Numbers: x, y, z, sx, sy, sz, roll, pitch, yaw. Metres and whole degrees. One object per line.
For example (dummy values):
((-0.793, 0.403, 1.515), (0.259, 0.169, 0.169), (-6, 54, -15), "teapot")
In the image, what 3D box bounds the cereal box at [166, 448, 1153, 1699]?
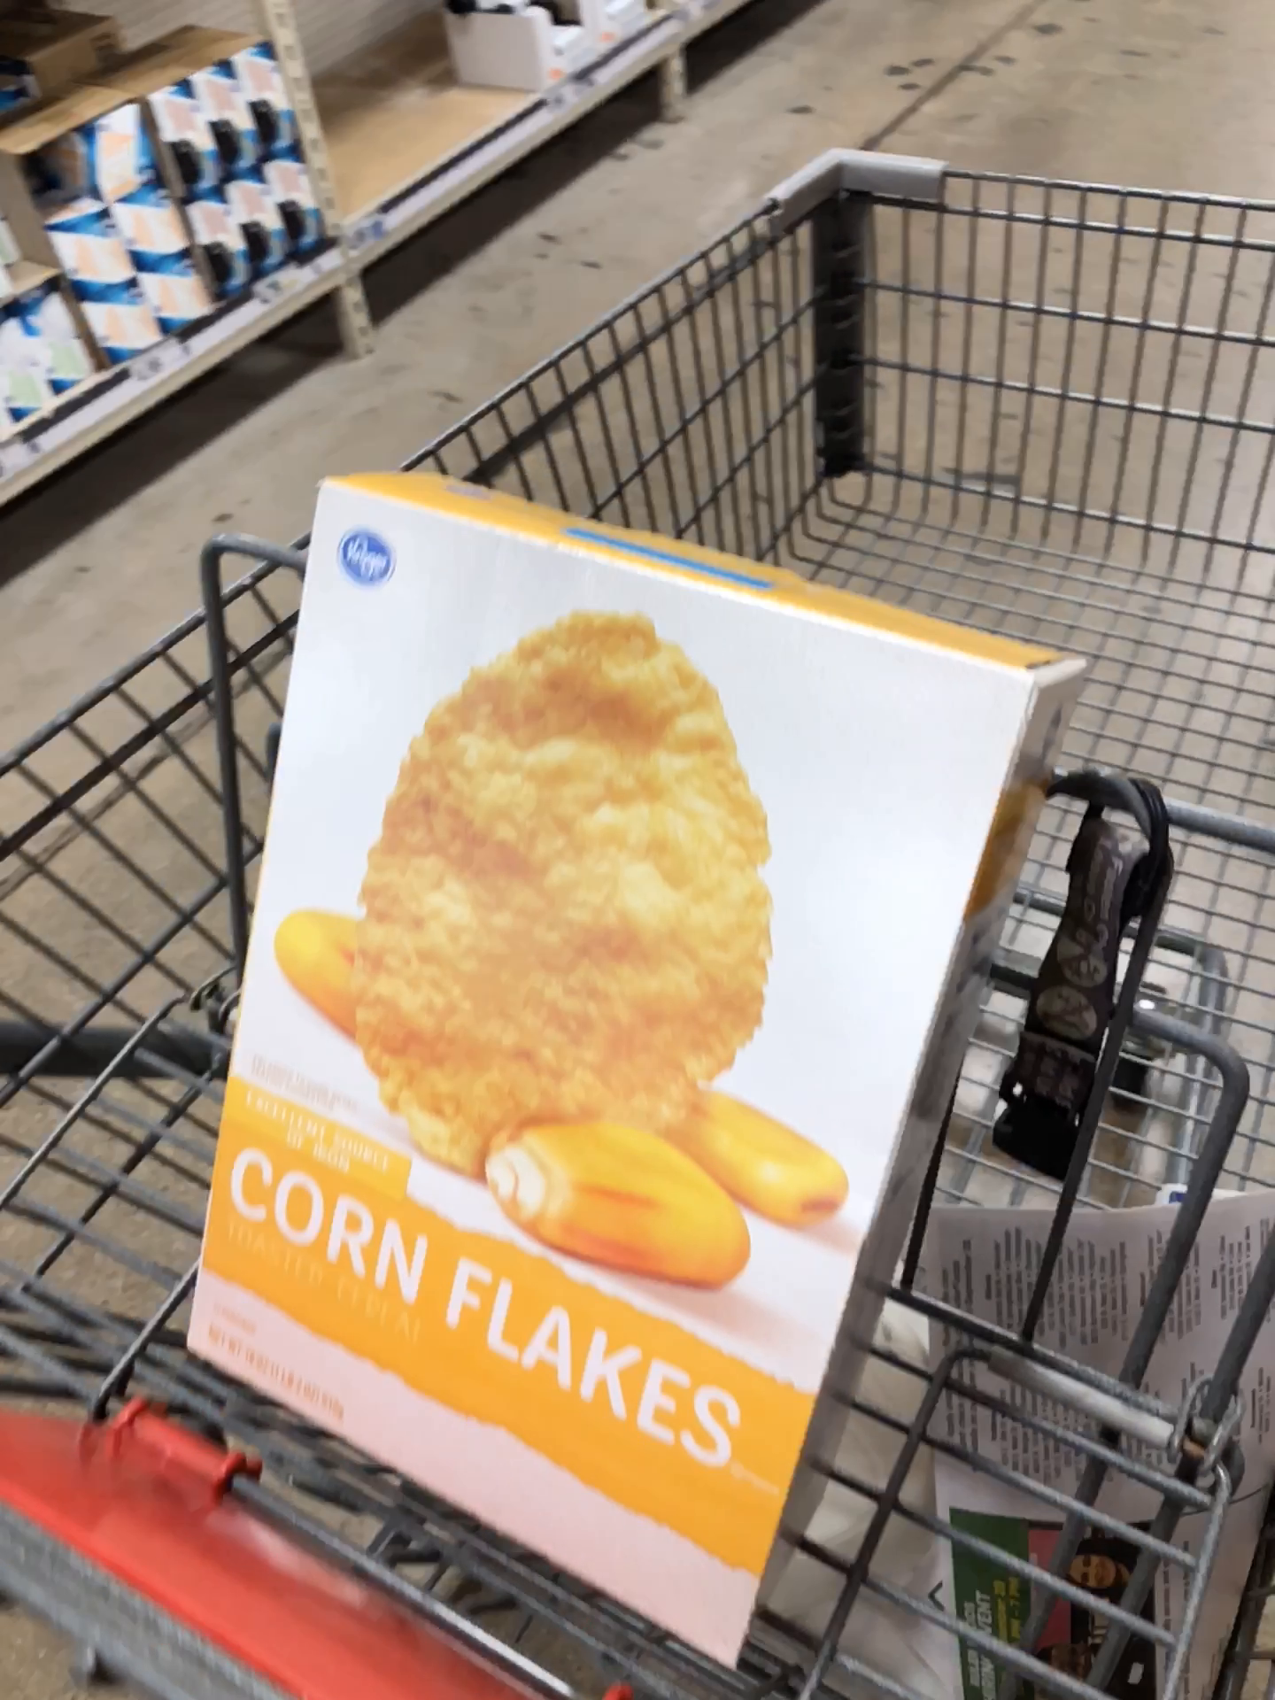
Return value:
((-0.013, 0.057, 0.422), (0.230, 0.300, 0.080), (19, 19, 24), "cereal box")
